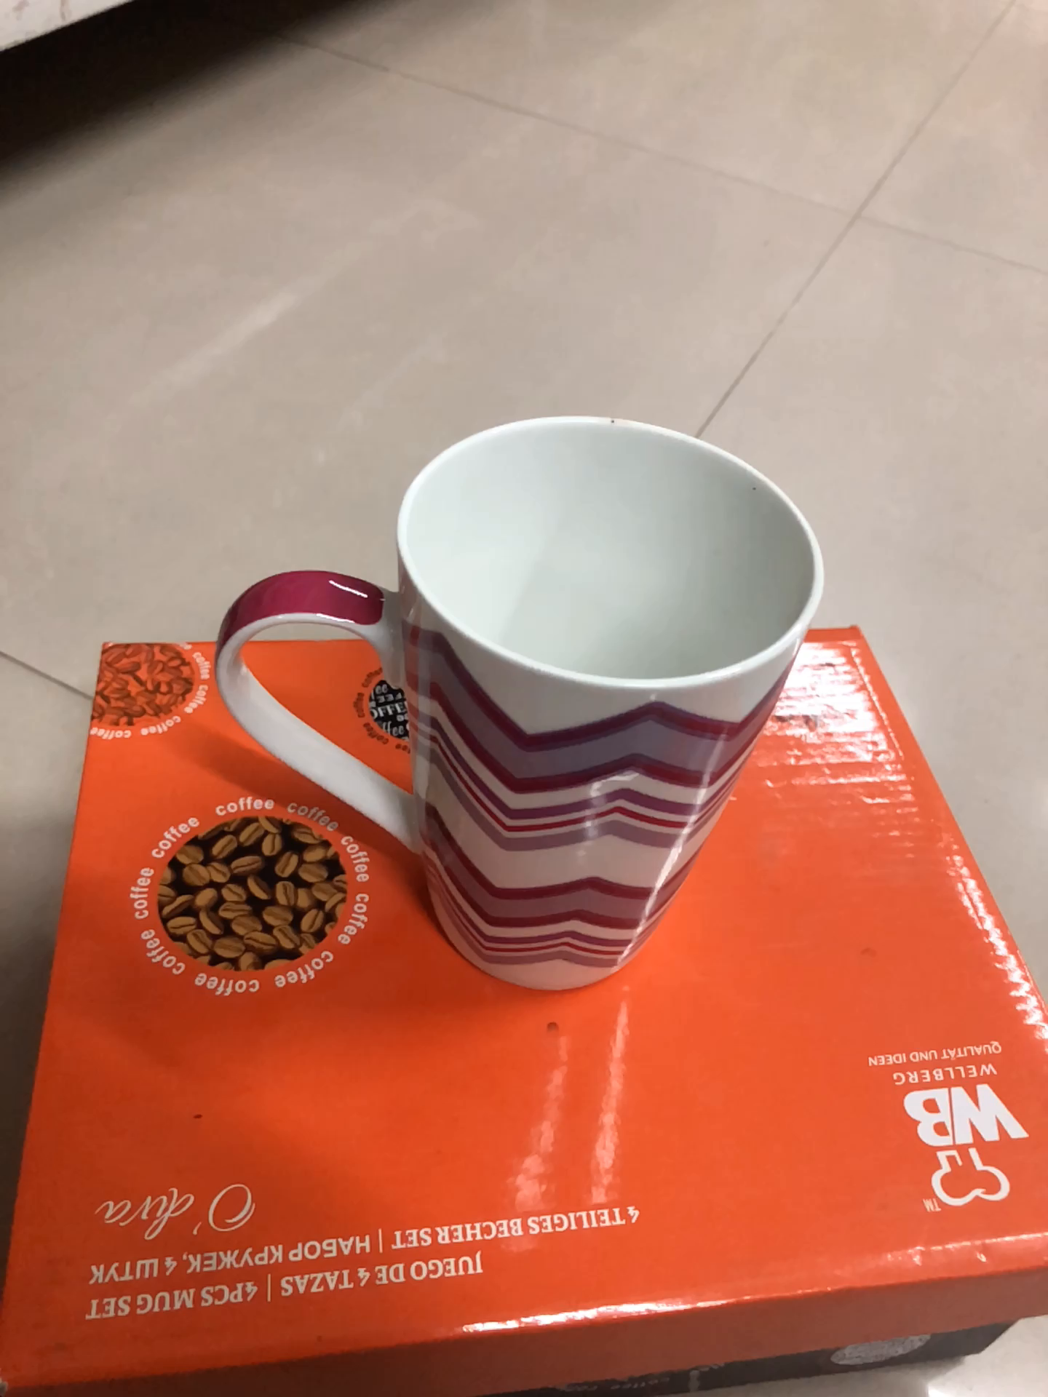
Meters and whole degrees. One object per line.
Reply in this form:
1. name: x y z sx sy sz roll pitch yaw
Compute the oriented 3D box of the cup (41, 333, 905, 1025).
1. cup: -0.012 0.001 0.246 0.130 0.109 0.091 2 47 -6
